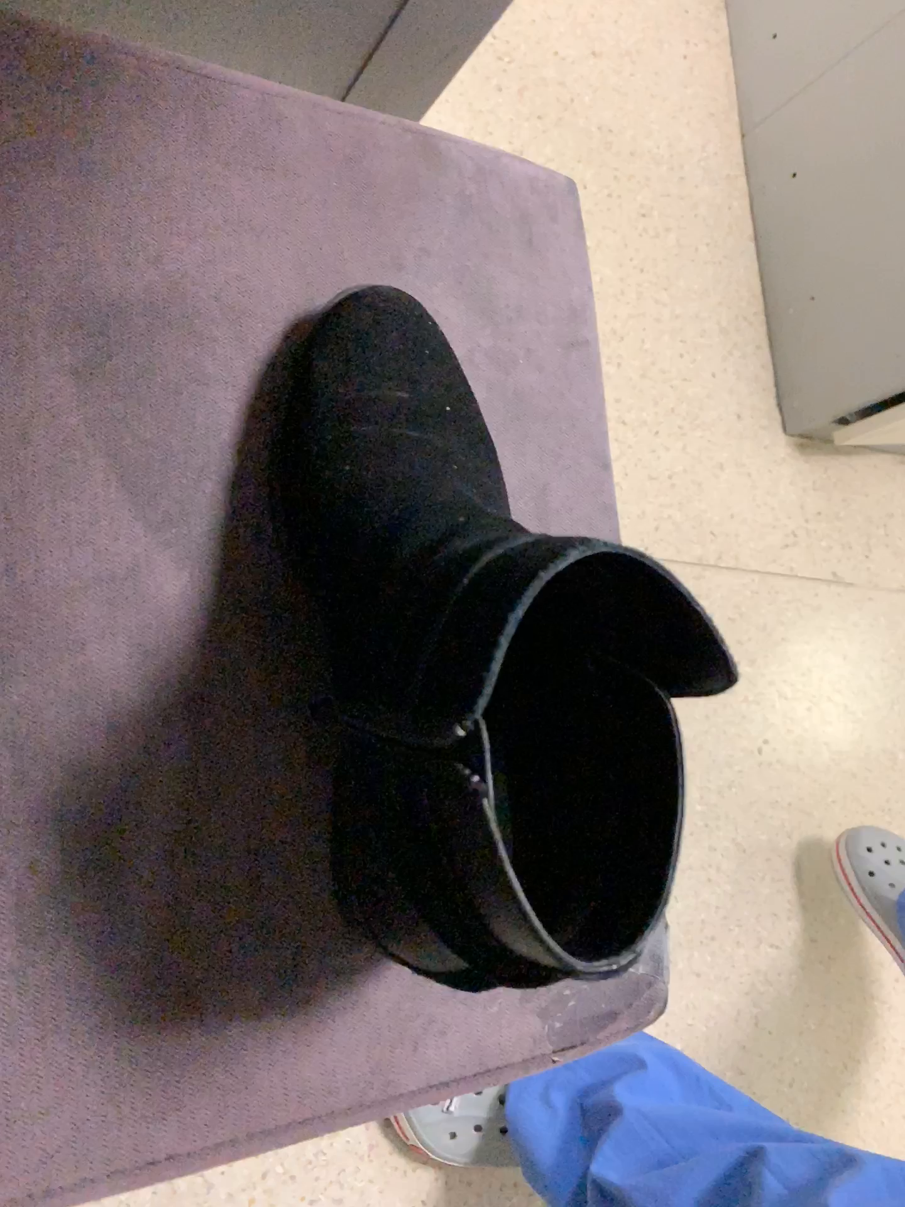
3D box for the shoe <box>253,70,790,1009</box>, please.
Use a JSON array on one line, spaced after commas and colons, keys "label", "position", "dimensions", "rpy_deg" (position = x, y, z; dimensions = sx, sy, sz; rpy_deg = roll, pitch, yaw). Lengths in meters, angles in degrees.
[{"label": "shoe", "position": [0.007, -0.012, 0.308], "dimensions": [0.101, 0.137, 0.235], "rpy_deg": [3, 78, -30]}]
